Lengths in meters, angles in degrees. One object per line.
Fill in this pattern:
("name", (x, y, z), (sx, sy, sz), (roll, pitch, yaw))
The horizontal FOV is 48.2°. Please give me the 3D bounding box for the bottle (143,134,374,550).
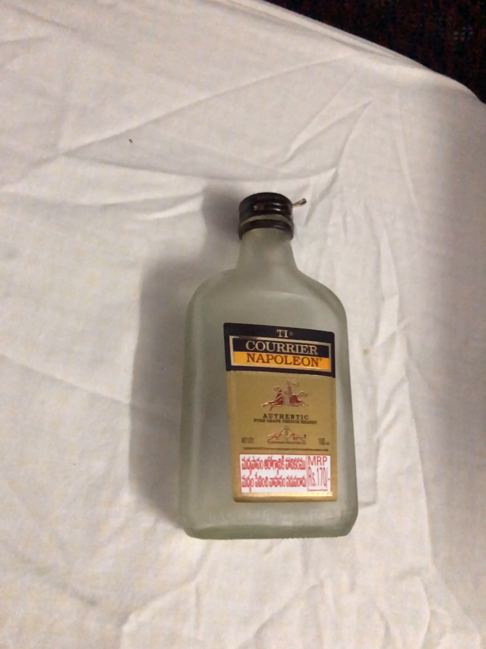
("bottle", (0.005, 0.007, 0.233), (0.080, 0.040, 0.160), (6, 72, -19))
